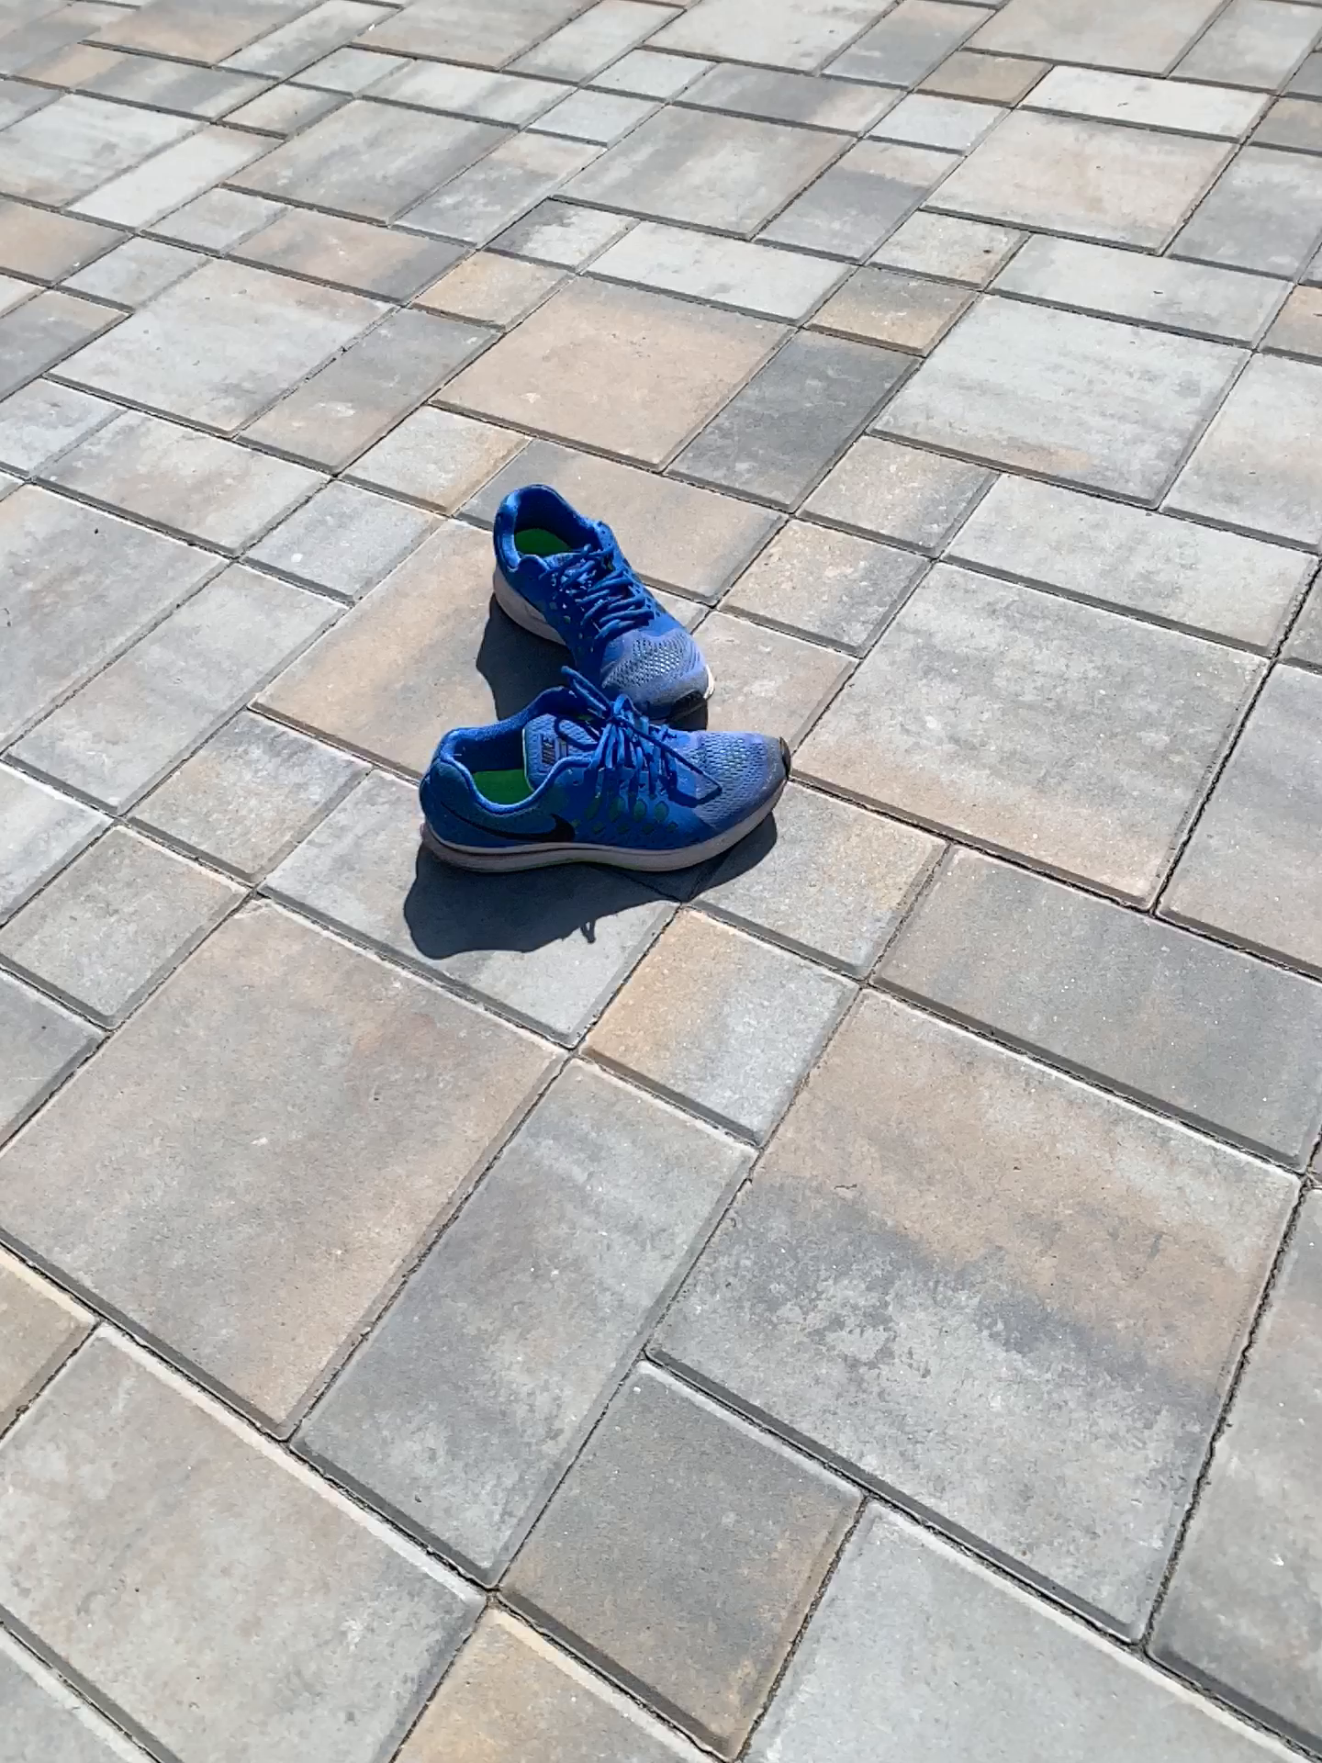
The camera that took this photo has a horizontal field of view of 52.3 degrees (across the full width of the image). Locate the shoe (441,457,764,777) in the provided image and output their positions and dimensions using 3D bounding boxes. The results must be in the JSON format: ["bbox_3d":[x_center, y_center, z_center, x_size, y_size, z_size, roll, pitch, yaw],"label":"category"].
[{"bbox_3d":[-0.050,-0.220,1.083,0.120,0.080,0.281,-30,55,-18],"label":"shoe"}]

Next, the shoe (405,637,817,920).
[{"bbox_3d":[-0.035,-0.074,0.966,0.270,0.110,0.120,-9,52,-2],"label":"shoe"}]
